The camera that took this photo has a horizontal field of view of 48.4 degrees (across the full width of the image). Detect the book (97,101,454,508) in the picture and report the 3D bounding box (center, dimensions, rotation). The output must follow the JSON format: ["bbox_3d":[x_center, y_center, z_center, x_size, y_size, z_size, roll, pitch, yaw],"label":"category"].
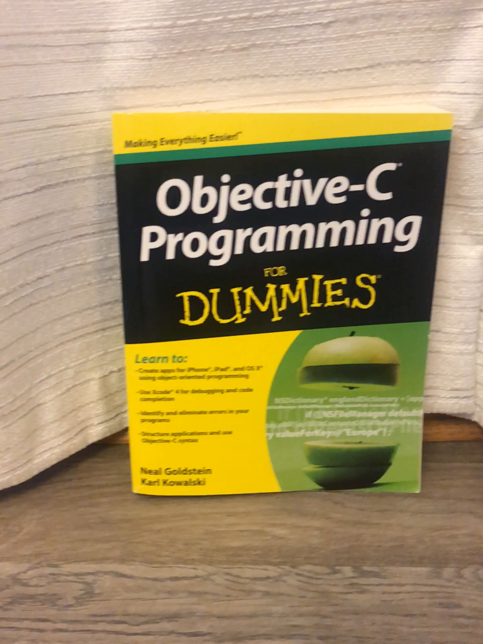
[{"bbox_3d":[0.020,-0.004,0.319,0.183,0.230,0.033,-2,14,-1],"label":"book"}]
